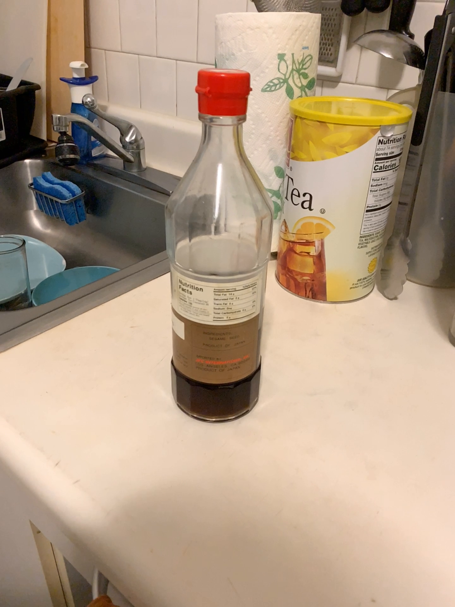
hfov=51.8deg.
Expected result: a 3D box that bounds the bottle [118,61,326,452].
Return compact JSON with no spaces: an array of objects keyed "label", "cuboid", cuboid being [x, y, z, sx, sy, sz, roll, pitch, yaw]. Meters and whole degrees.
[{"label":"bottle","cuboid":[-0.006,-0.028,0.347,0.090,0.258,0.090,2,32,-1]}]
